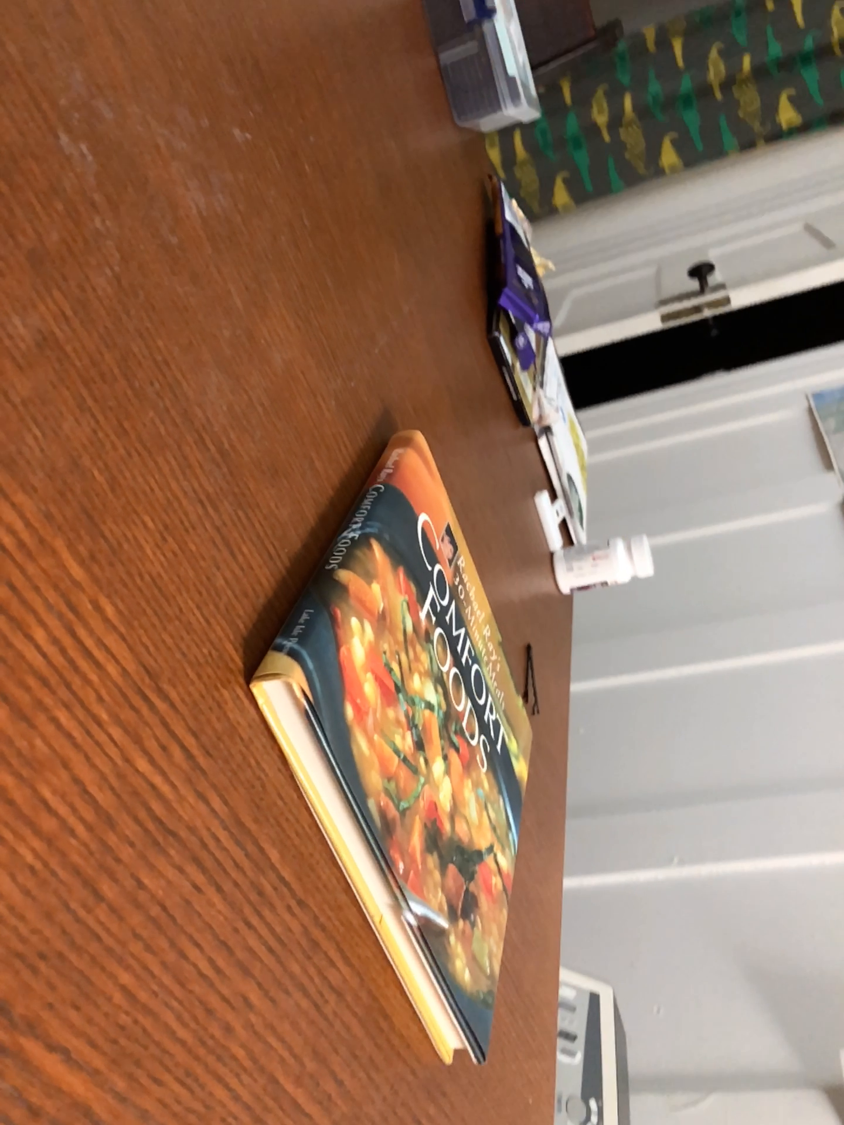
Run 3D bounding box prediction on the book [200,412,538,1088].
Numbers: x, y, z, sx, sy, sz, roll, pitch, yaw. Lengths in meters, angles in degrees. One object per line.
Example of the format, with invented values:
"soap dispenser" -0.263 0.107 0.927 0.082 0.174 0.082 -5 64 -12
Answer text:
"book" 0.000 0.067 0.409 0.211 0.030 0.200 -69 143 -57
